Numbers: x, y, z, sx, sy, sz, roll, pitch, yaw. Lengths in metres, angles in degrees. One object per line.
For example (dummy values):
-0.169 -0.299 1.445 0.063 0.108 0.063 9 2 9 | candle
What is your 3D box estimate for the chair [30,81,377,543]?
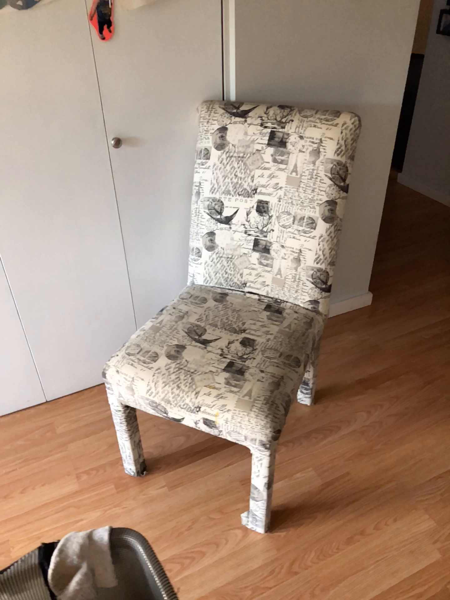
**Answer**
0.015 0.008 1.382 0.521 0.997 0.672 14 38 21 | chair
